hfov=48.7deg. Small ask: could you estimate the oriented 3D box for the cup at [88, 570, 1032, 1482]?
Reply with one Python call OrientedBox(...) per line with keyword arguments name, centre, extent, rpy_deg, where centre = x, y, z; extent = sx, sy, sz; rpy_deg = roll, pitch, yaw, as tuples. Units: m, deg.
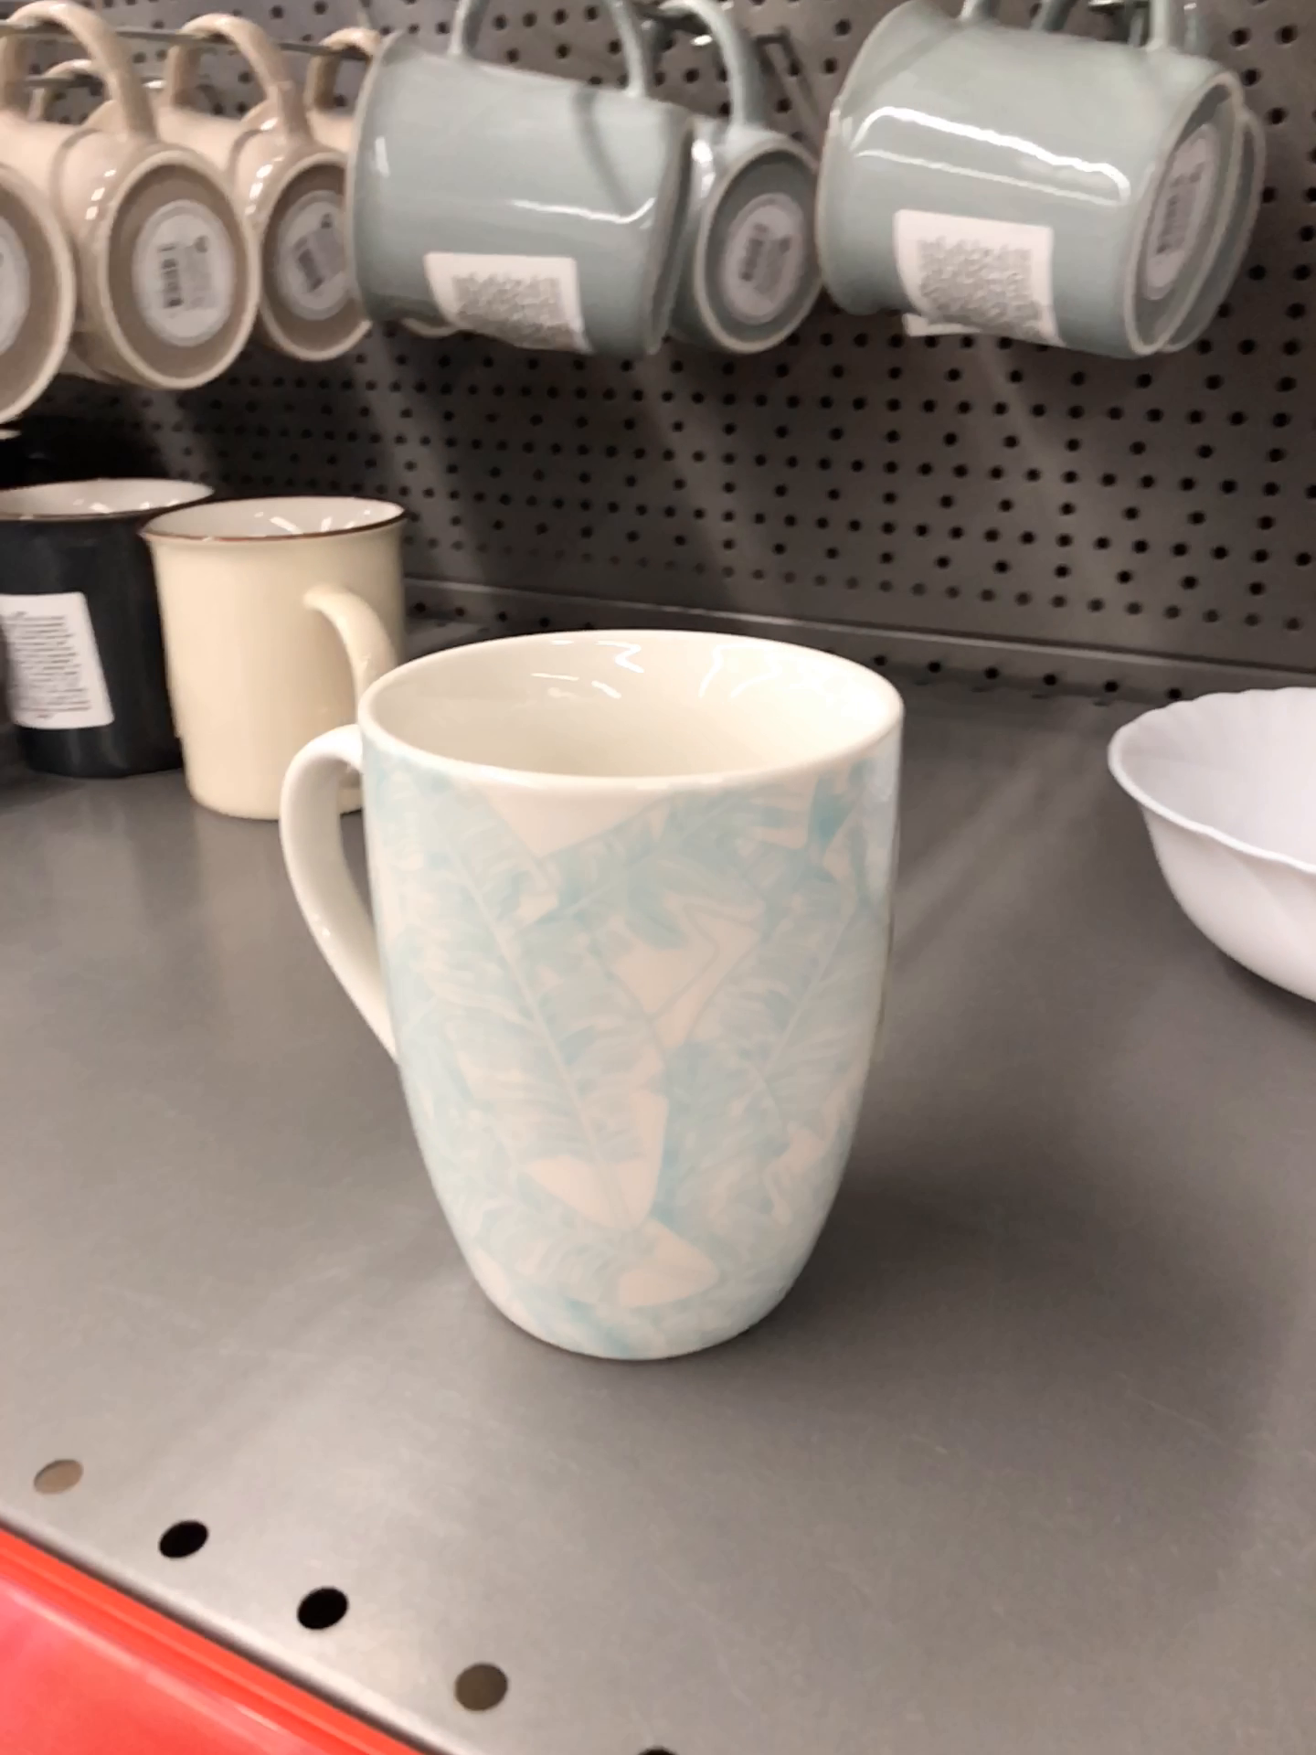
OrientedBox(name="cup", centre=(-0.013, 0.012, 0.245), extent=(0.121, 0.098, 0.083), rpy_deg=(14, 29, 30))
